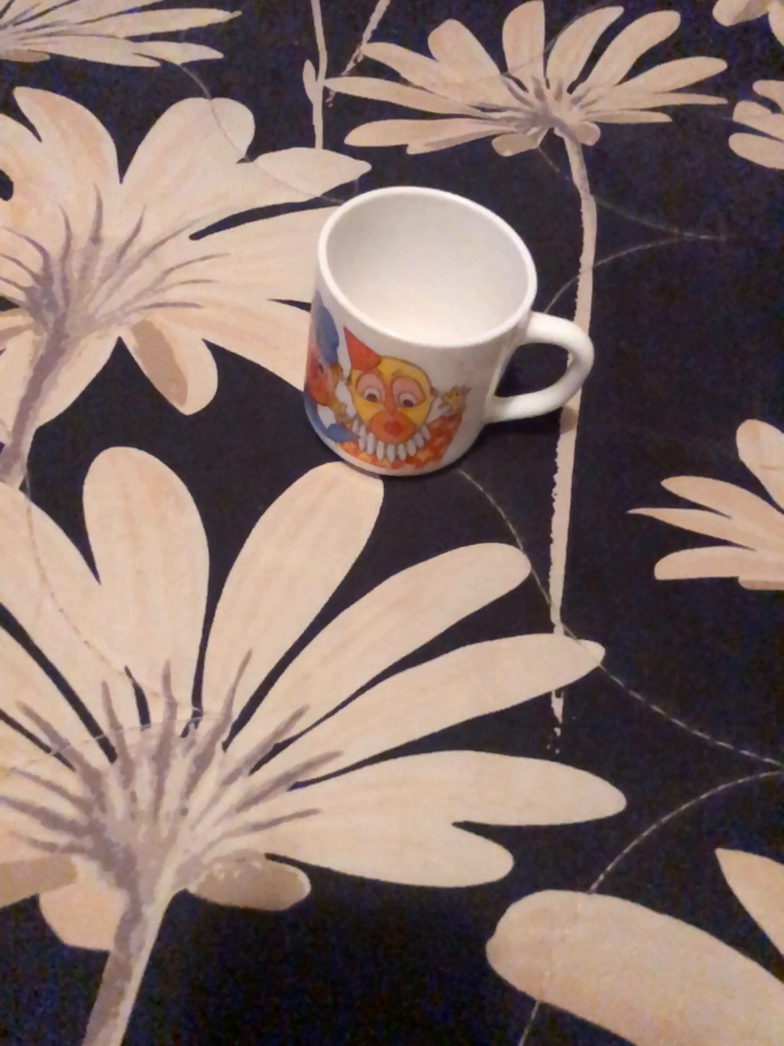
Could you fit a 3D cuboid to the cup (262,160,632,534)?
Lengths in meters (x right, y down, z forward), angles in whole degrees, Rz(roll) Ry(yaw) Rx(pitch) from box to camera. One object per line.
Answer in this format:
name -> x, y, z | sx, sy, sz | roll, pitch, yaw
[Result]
cup -> 0.020, -0.066, 0.326 | 0.108, 0.077, 0.085 | 17, 56, 7
